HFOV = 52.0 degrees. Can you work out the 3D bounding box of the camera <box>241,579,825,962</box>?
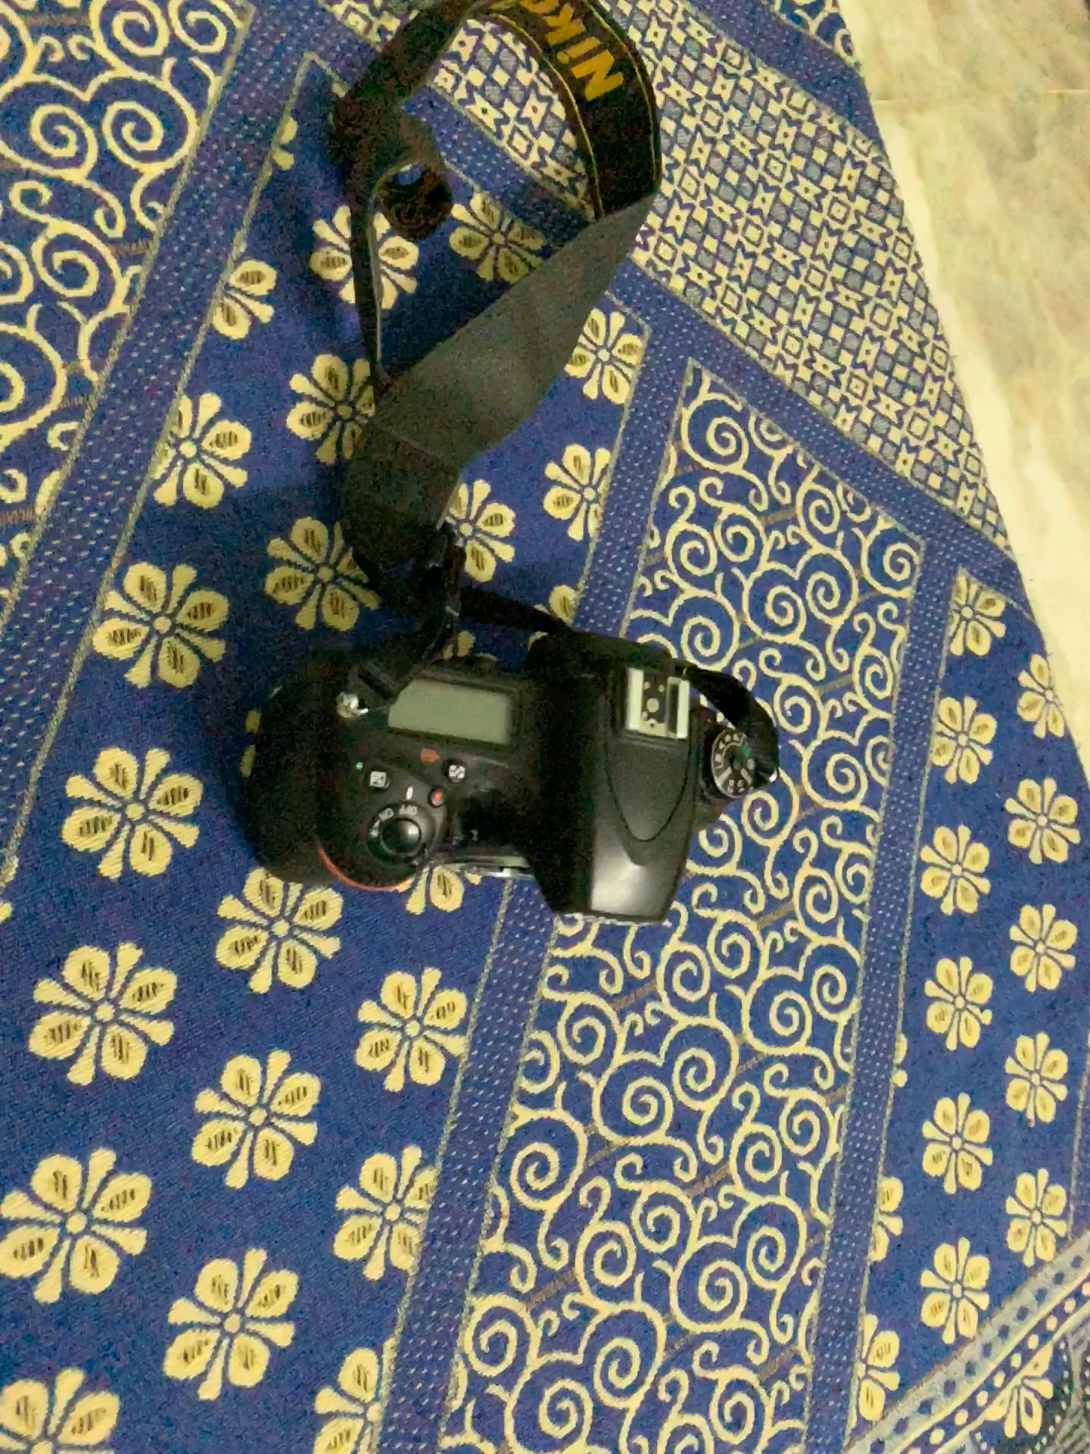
[{"bbox_3d":[-0.003,0.022,0.343,0.150,0.090,0.088,9,78,-27],"label":"camera"}]
